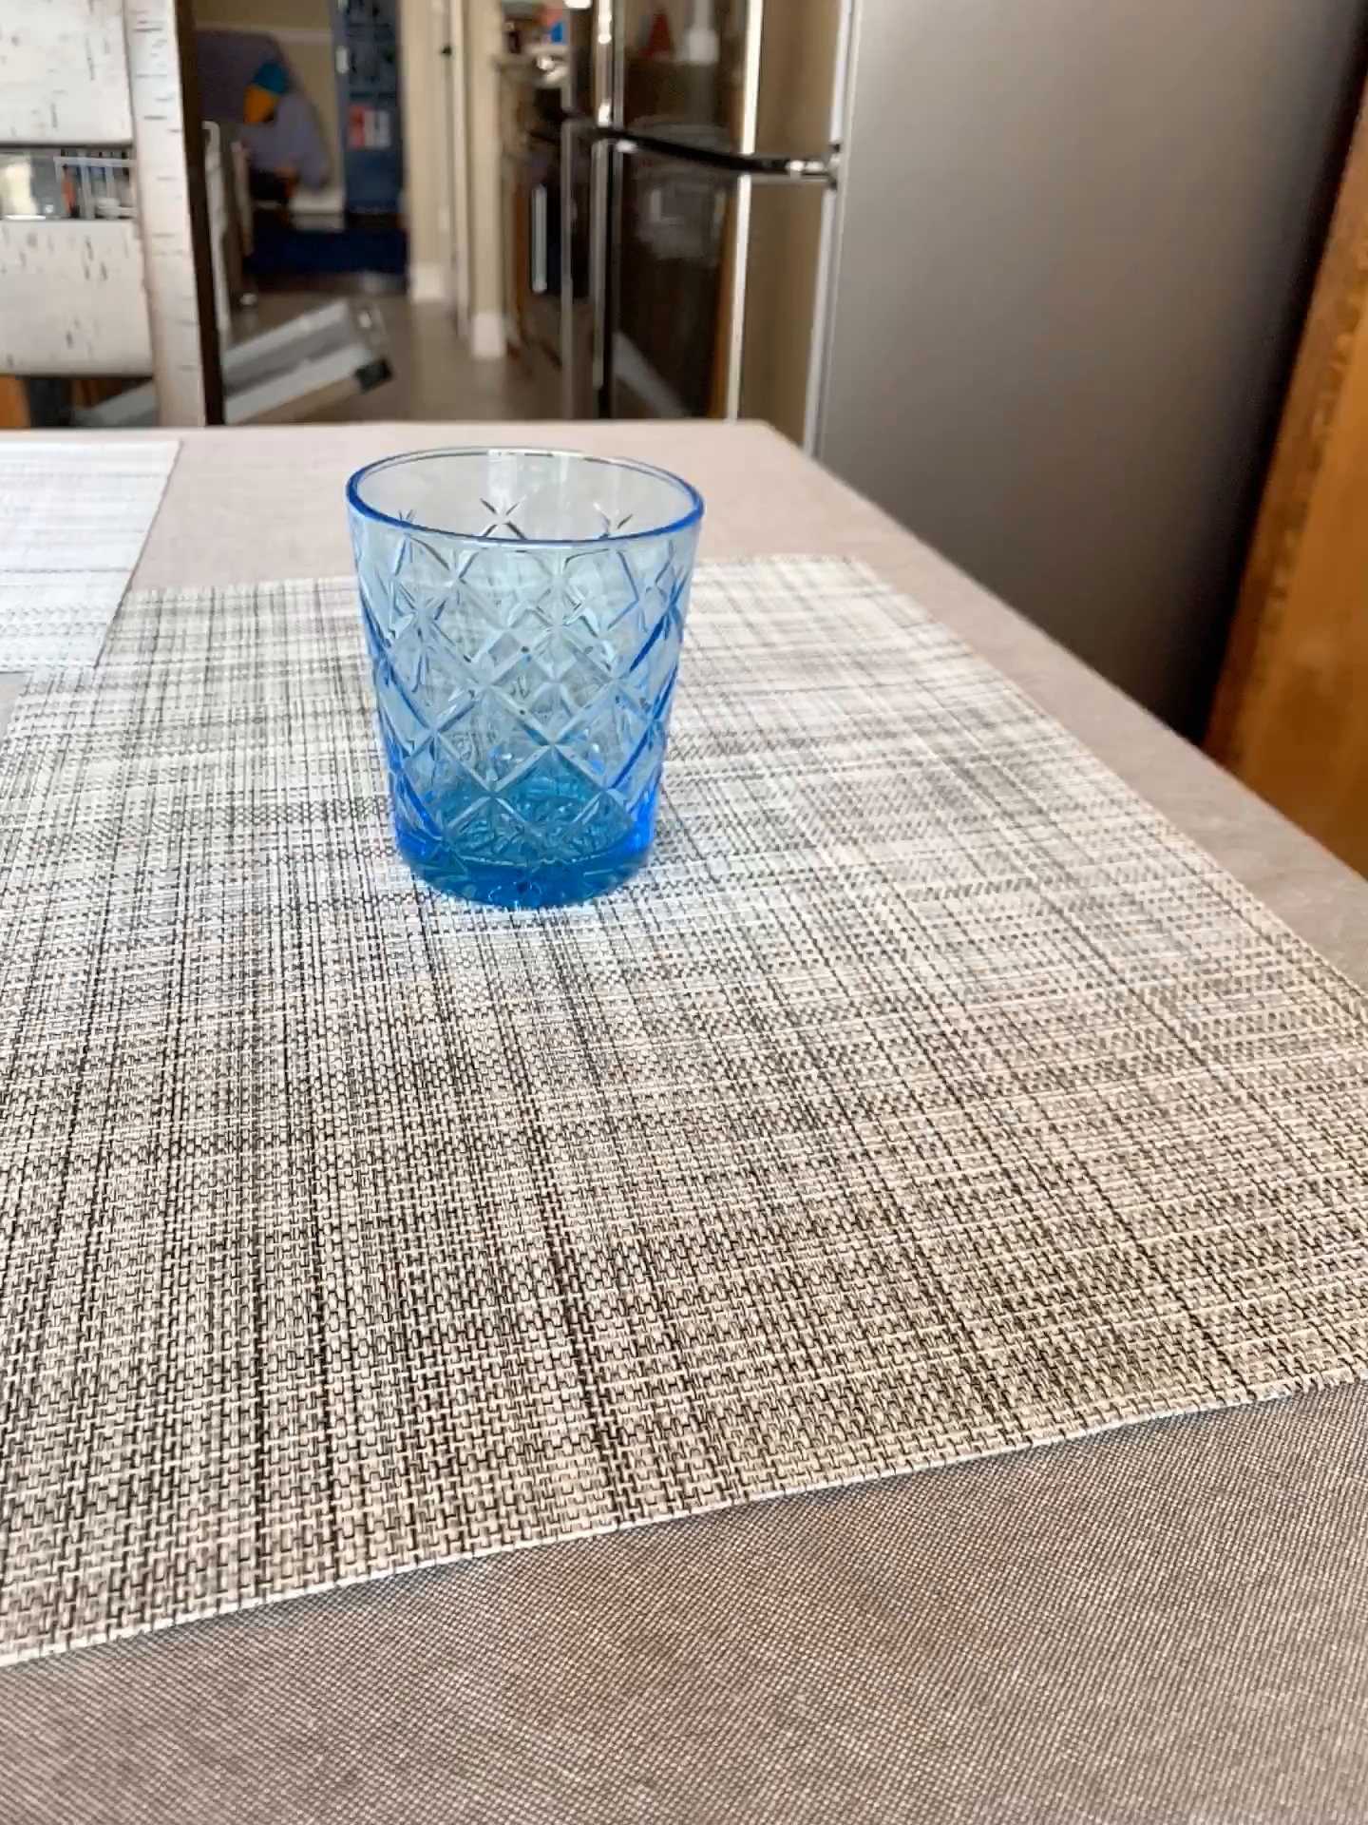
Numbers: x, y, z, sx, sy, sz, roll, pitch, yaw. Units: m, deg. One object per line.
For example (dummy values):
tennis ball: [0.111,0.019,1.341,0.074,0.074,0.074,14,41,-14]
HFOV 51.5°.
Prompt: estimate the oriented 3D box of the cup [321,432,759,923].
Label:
cup: [-0.039,-0.061,0.345,0.087,0.085,0.093,2,31,-1]
